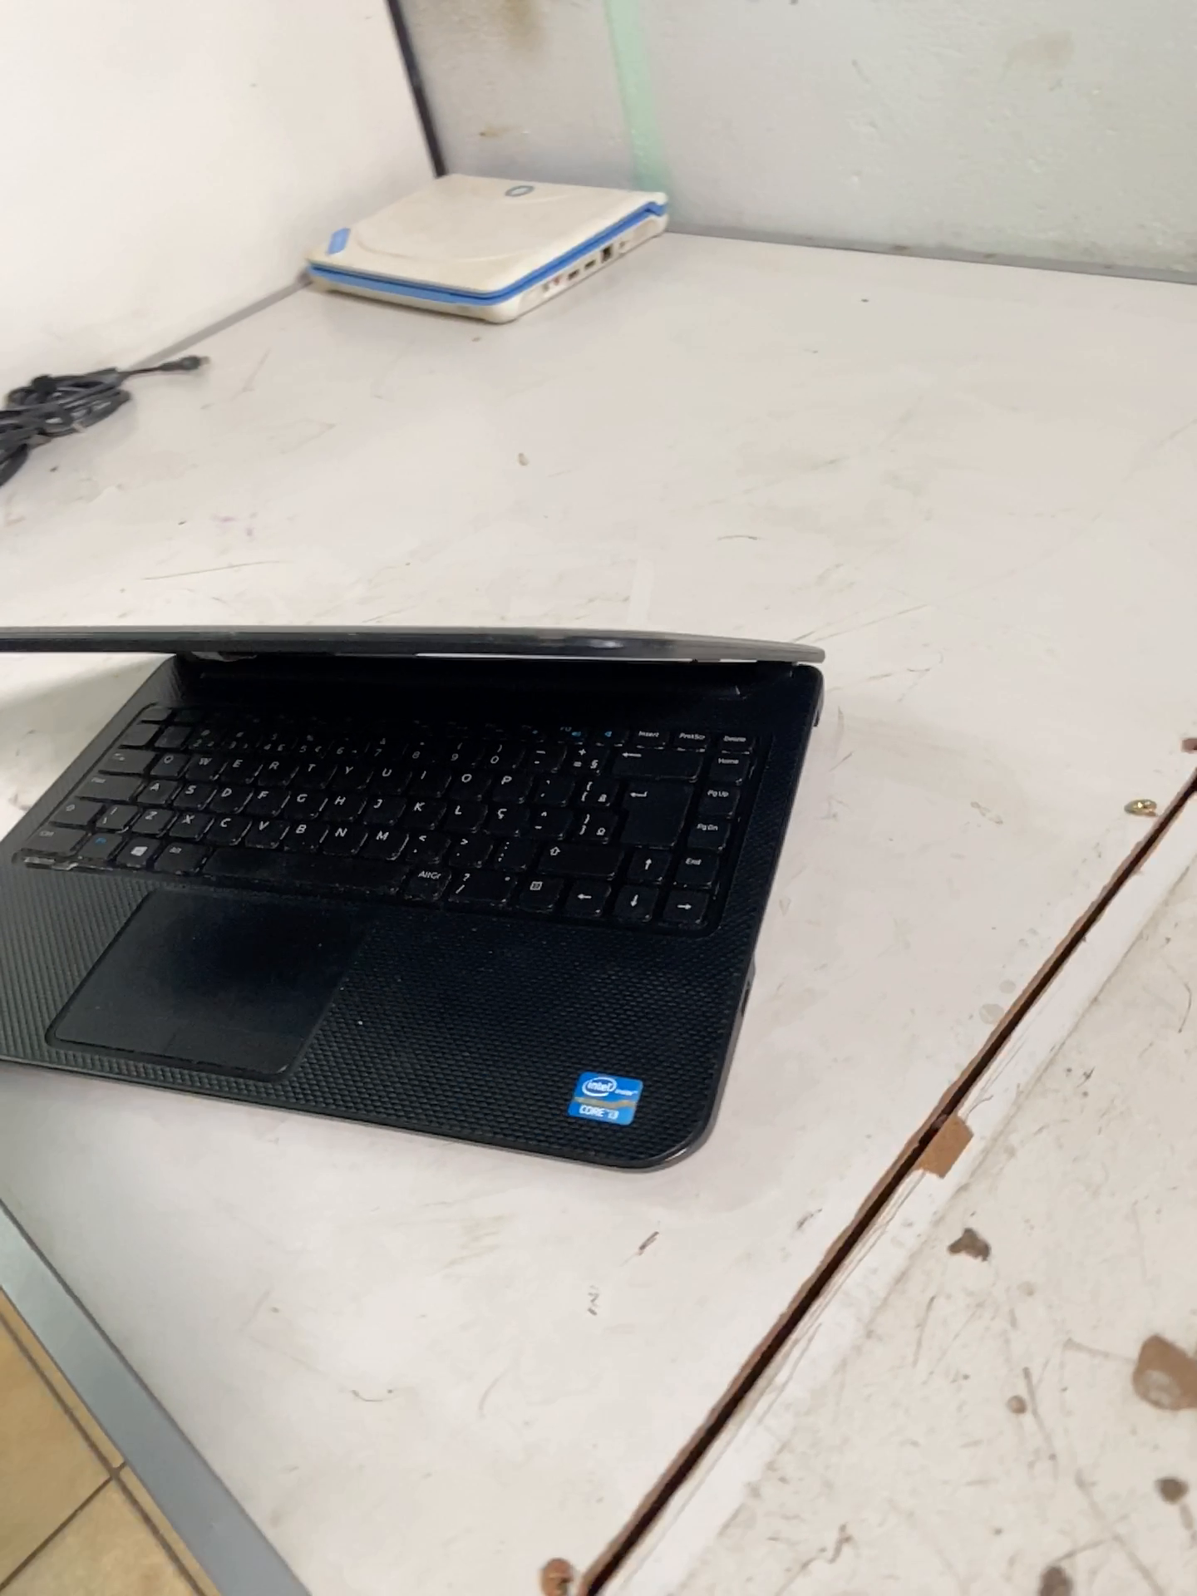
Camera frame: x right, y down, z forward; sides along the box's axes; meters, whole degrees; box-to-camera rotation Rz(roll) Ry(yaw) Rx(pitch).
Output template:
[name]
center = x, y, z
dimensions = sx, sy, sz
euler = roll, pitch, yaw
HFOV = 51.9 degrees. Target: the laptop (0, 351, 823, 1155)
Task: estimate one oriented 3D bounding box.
[laptop]
center = -0.108, -0.034, 0.452
dimensions = 0.330, 0.141, 0.231
euler = 3, 44, 21
